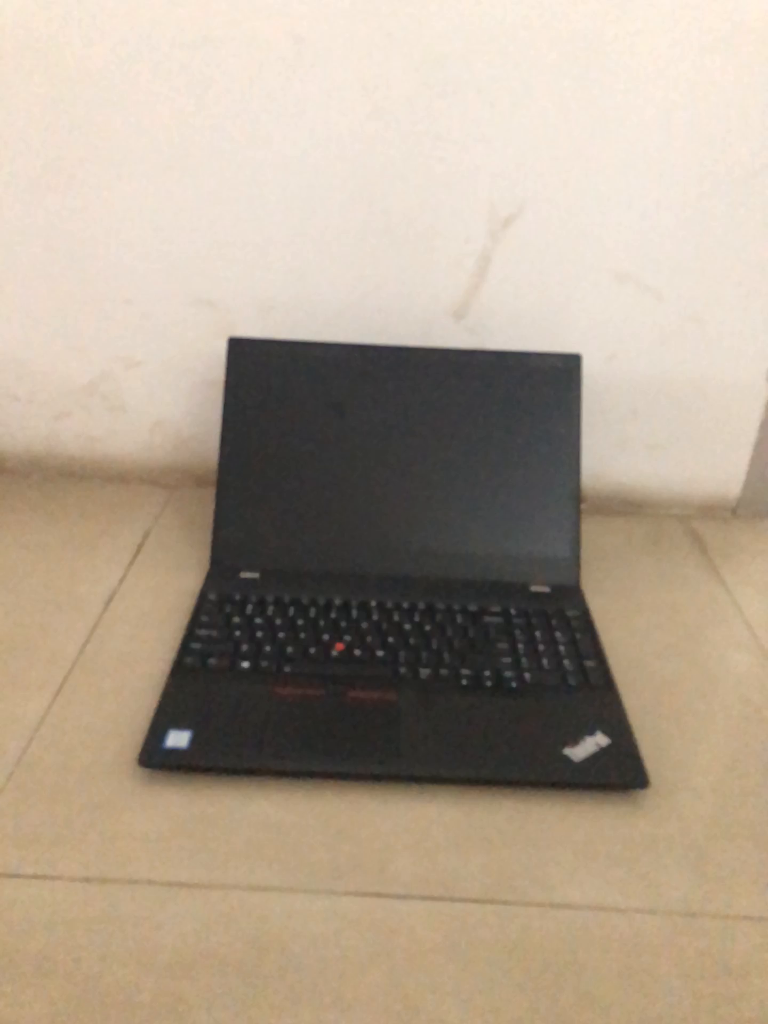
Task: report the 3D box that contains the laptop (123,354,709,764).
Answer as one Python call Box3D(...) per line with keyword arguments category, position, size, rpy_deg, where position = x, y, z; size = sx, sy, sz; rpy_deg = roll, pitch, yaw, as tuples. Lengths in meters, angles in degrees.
Box3D(category="laptop", position=(0.011, 0.010, 0.697), size=(0.344, 0.192, 0.364), rpy_deg=(4, 23, -2))
